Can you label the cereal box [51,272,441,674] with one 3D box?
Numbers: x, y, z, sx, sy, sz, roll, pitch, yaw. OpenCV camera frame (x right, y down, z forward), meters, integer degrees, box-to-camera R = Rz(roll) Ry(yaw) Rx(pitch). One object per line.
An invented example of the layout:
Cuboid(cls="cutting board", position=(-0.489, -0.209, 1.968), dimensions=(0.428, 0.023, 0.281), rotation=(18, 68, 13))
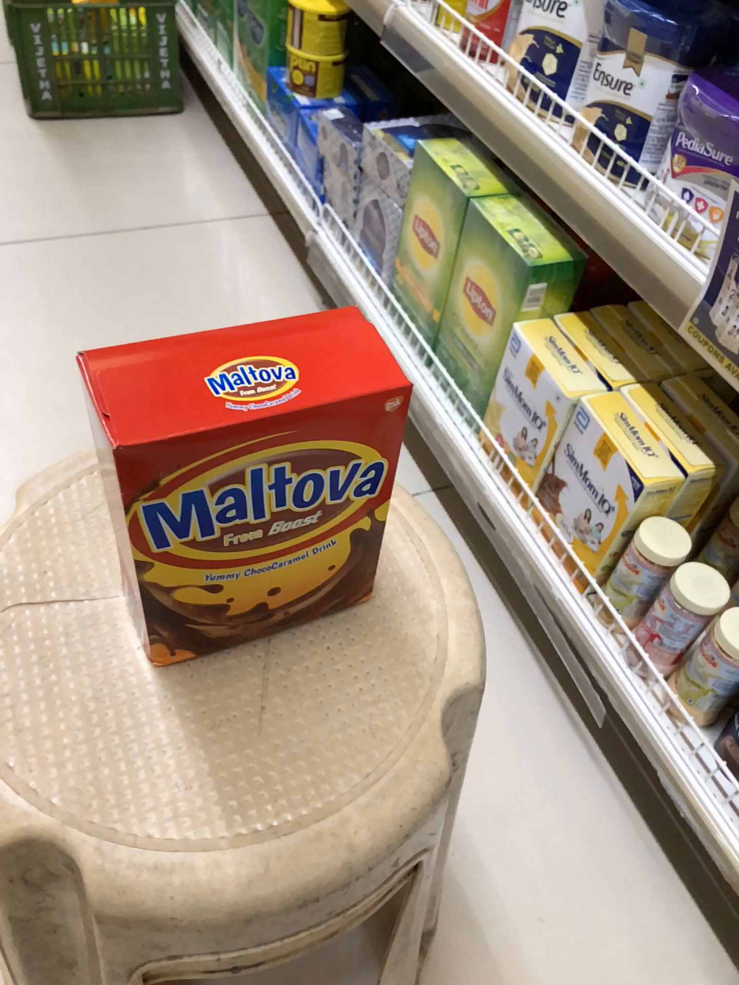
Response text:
Cuboid(cls="cereal box", position=(-0.062, -0.005, 0.415), dimensions=(0.150, 0.179, 0.070), rotation=(-15, 53, -21))
